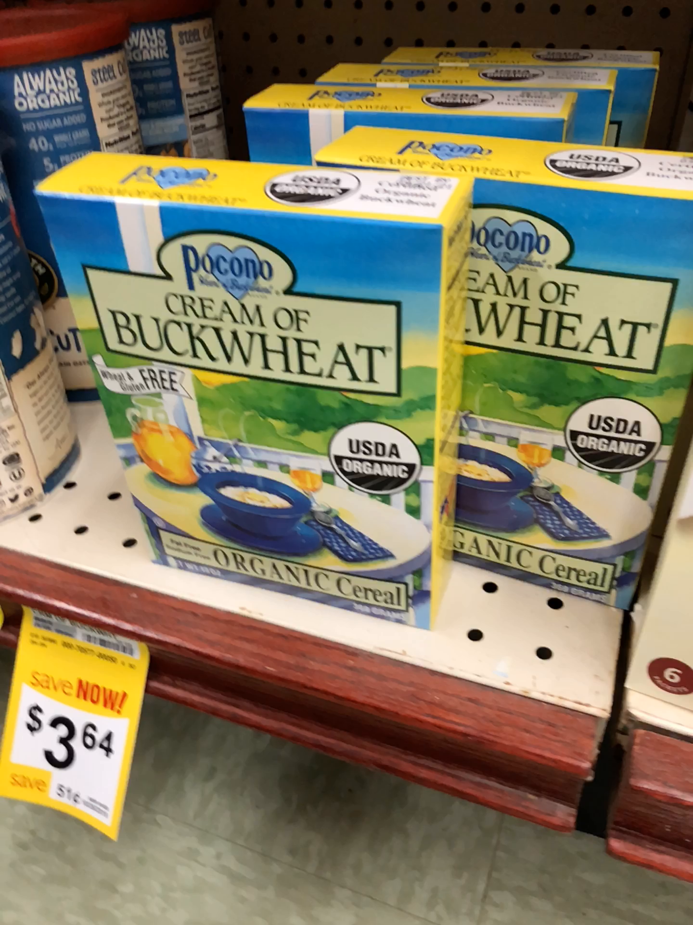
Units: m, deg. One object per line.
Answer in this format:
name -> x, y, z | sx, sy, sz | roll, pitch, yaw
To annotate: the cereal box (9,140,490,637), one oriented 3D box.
cereal box -> -0.026, -0.021, 0.262 | 0.130, 0.150, 0.040 | 11, 39, 16
